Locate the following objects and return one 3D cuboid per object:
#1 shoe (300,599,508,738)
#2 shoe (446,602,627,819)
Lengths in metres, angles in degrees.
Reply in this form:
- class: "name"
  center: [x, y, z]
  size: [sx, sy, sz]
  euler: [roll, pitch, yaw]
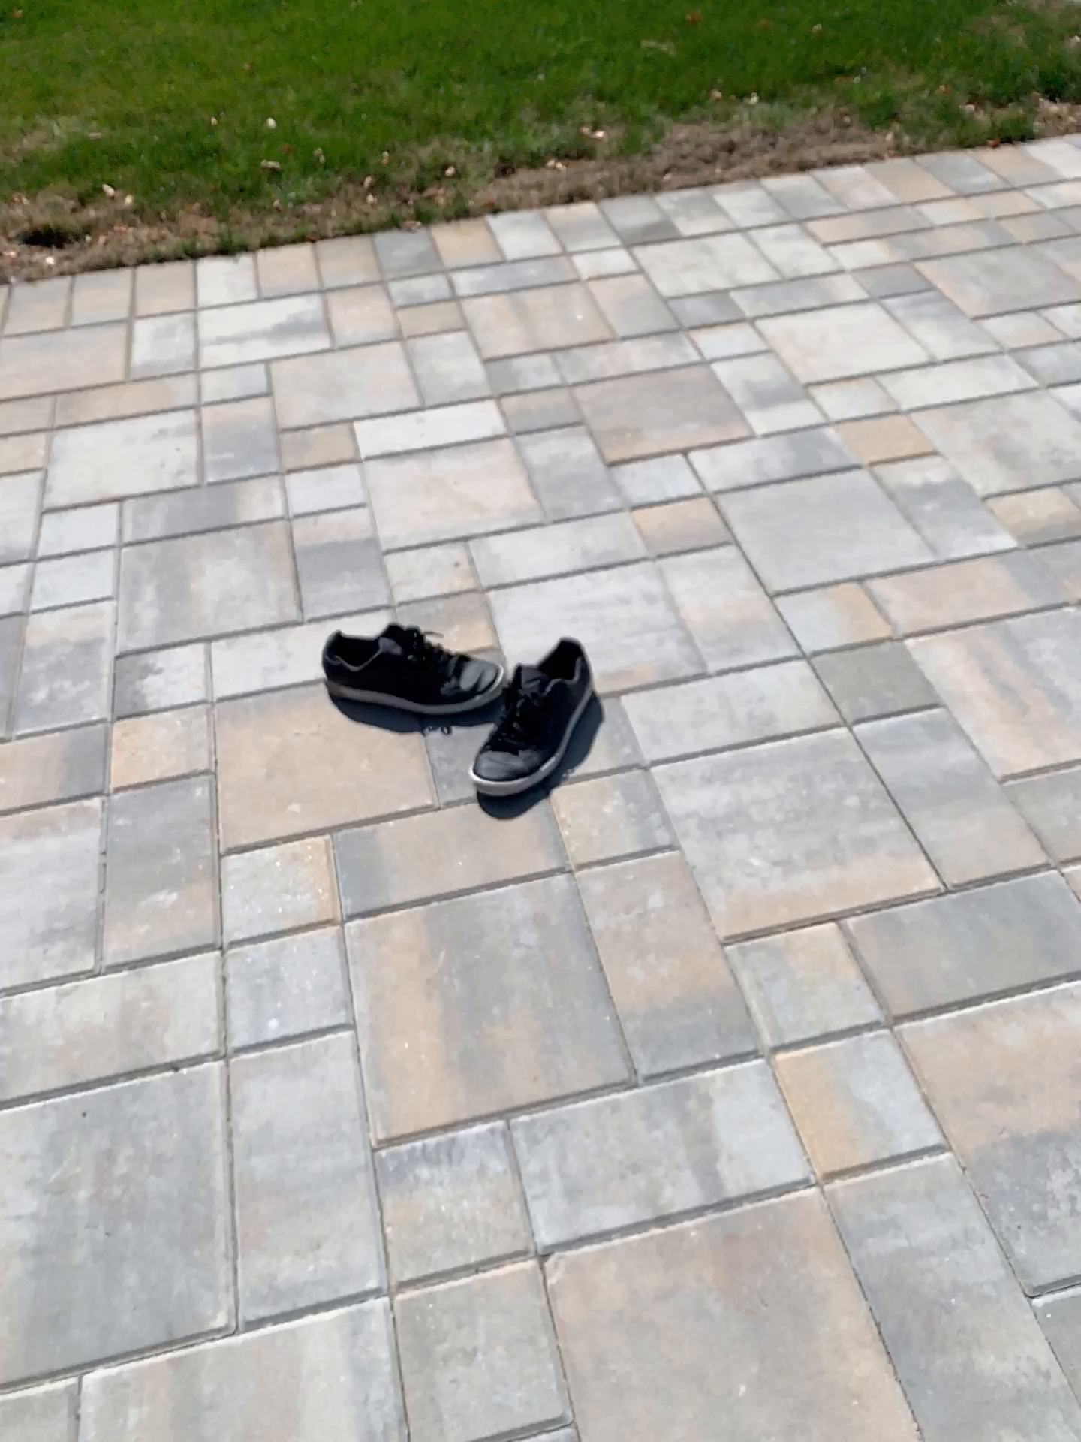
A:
- class: "shoe"
  center: [-0.183, -0.074, 1.532]
  size: [0.250, 0.110, 0.110]
  euler: [9, 47, 12]
- class: "shoe"
  center: [0.002, -0.020, 1.458]
  size: [0.110, 0.100, 0.280]
  euler: [20, 50, 21]
